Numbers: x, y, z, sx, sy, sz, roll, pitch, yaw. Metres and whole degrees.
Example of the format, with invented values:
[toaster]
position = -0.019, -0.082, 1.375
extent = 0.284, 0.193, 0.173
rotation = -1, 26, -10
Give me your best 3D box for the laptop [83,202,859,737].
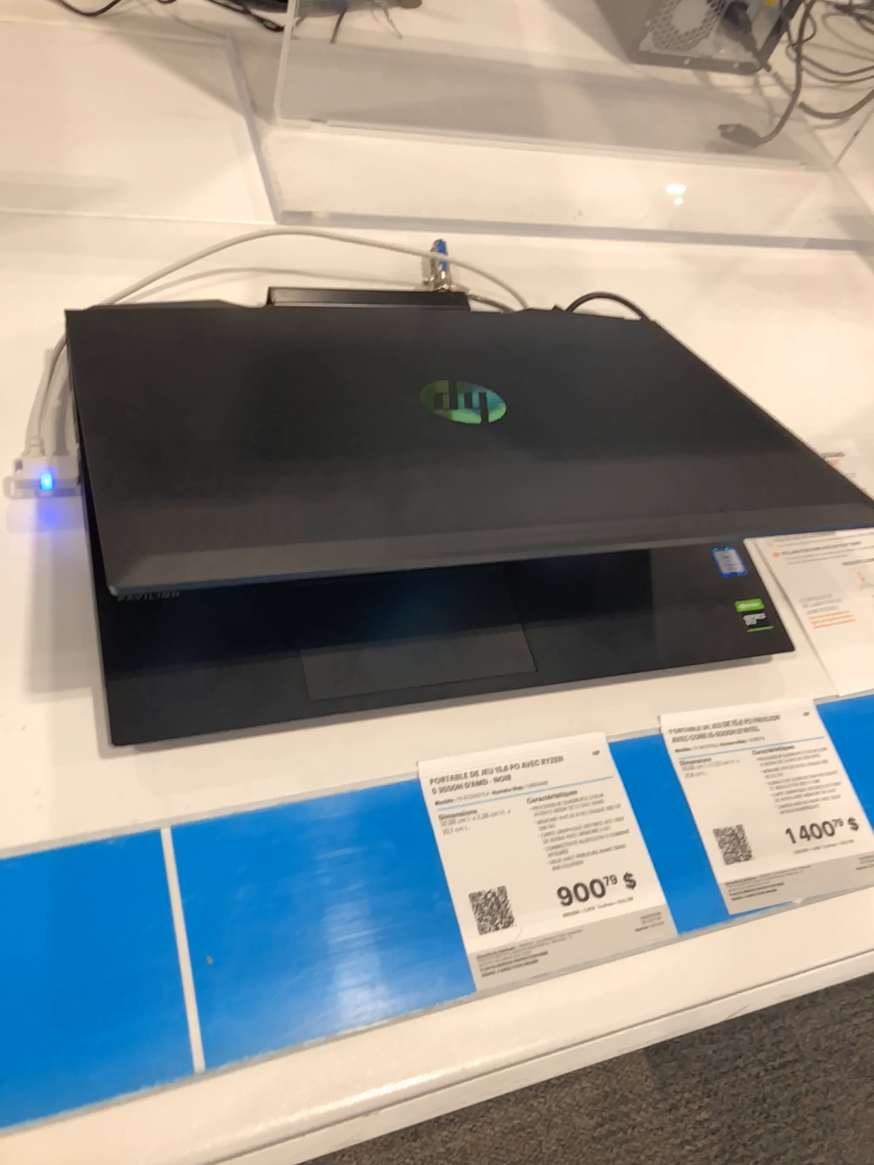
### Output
[laptop]
position = 0.016, -0.069, 0.474
extent = 0.339, 0.064, 0.221
rotation = -6, 66, -22
